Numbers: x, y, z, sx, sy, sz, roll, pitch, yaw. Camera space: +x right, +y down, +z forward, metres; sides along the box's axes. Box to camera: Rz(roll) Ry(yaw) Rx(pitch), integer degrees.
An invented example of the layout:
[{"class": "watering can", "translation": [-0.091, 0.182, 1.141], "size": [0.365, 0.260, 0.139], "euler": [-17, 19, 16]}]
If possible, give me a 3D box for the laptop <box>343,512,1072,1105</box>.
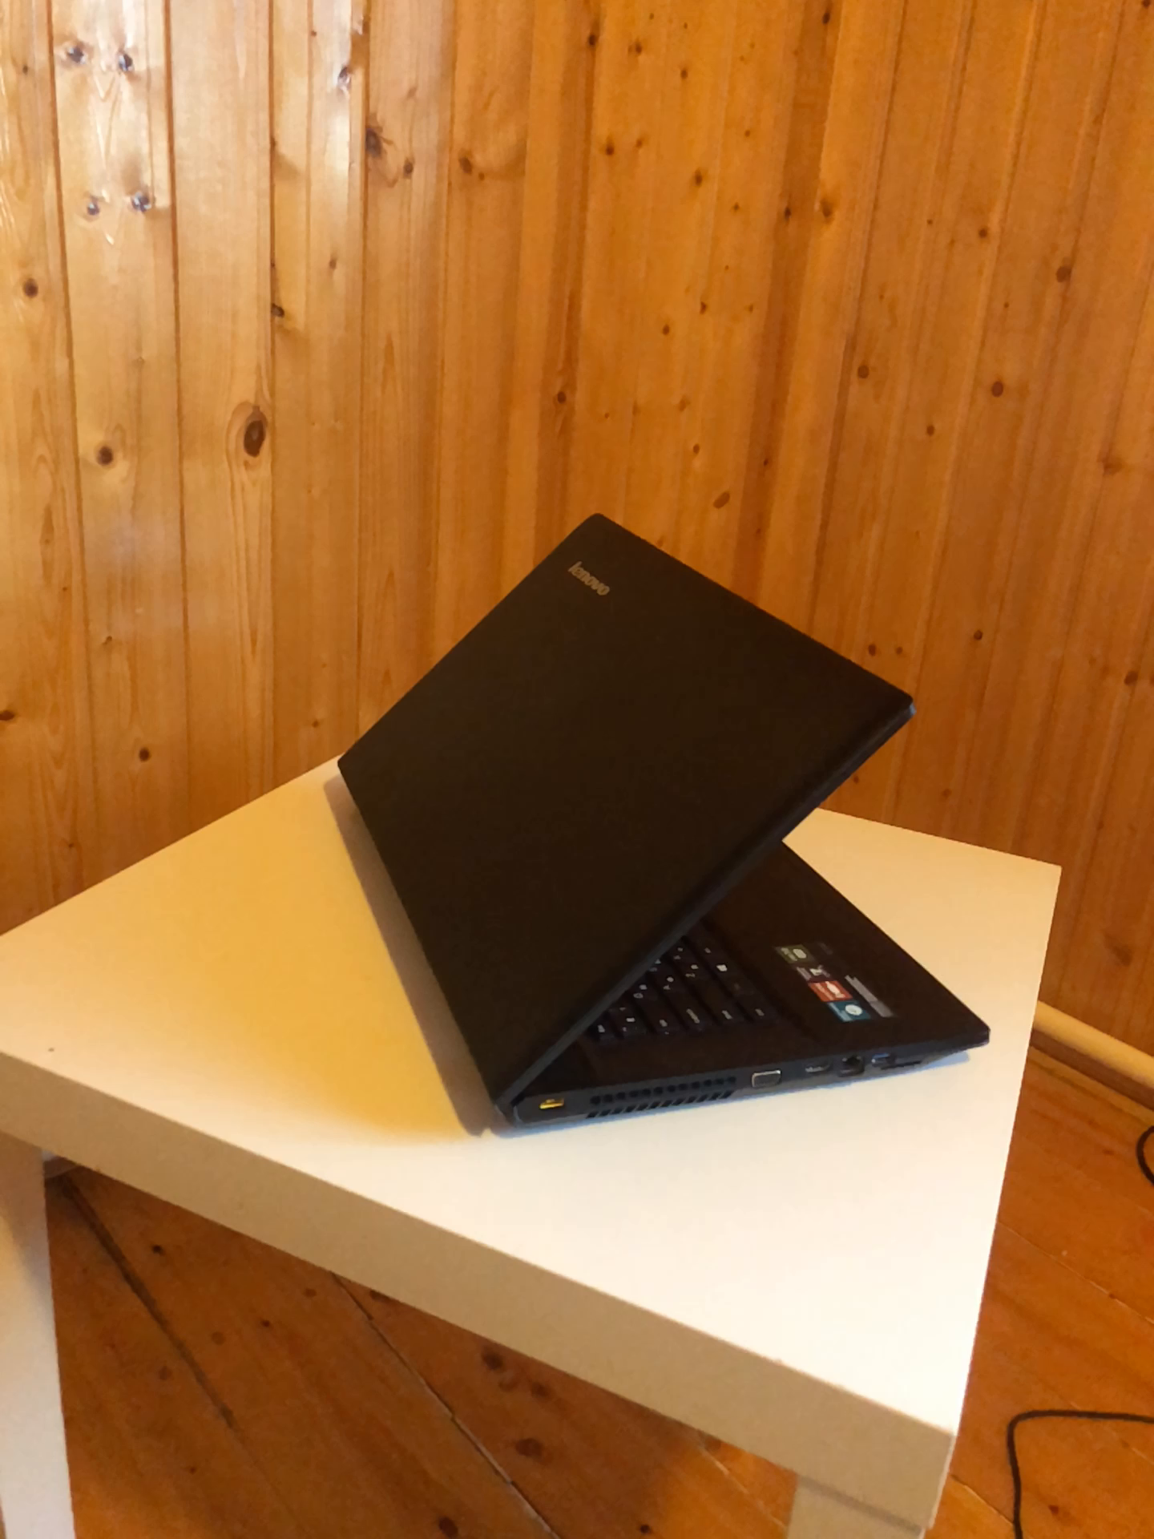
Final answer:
[{"class": "laptop", "translation": [0.031, -0.019, 0.759], "size": [0.271, 0.185, 0.412], "euler": [-3, 23, -20]}]
